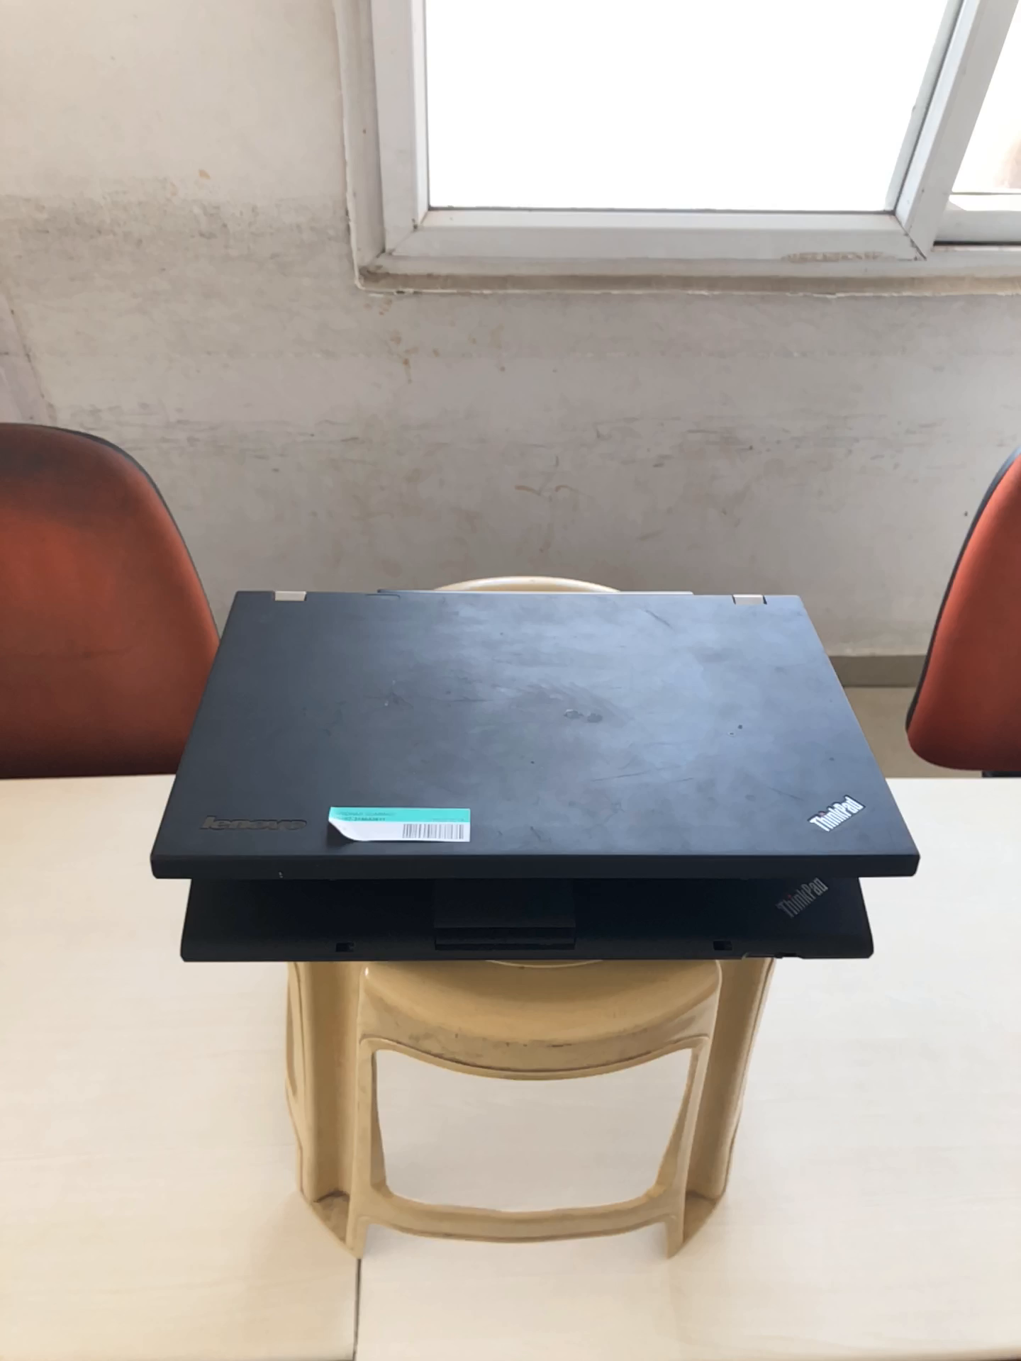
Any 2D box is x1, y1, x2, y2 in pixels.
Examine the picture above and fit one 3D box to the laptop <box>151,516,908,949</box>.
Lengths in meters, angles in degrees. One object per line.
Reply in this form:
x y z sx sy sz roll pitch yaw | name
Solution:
0.010 0.020 0.634 0.362 0.074 0.235 0 54 -3 | laptop
